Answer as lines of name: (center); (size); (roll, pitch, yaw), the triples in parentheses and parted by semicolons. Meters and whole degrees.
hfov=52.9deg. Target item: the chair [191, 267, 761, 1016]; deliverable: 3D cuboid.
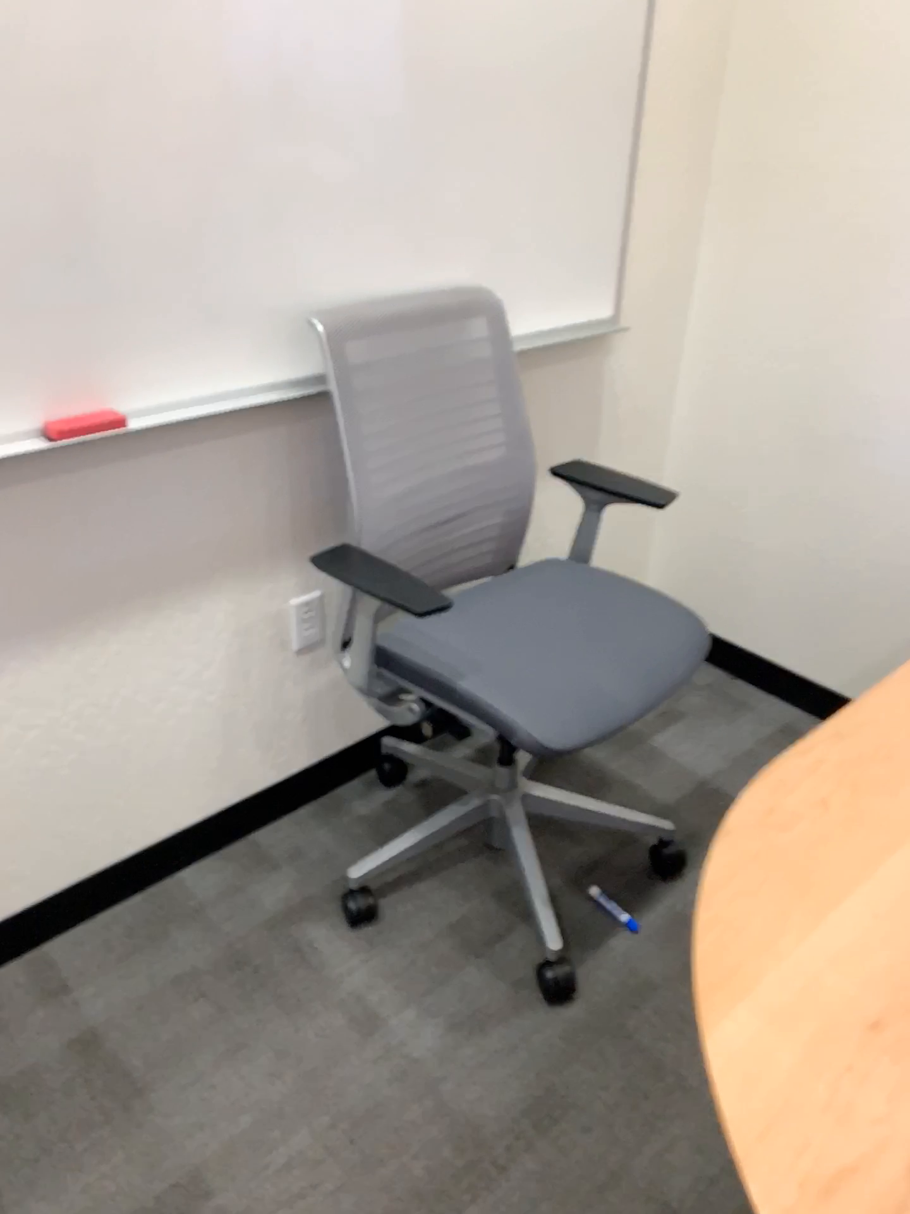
chair: (0.022, -0.002, 1.995); (0.753, 1.263, 0.762); (25, 35, 38)
